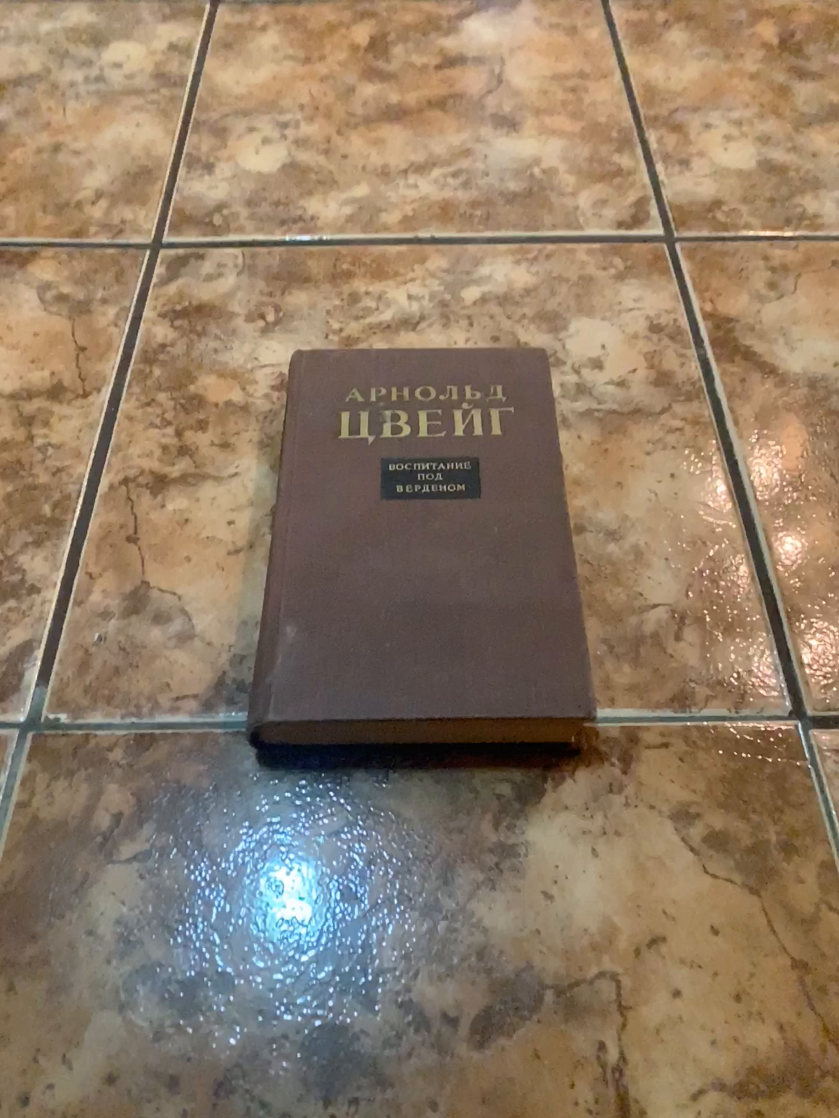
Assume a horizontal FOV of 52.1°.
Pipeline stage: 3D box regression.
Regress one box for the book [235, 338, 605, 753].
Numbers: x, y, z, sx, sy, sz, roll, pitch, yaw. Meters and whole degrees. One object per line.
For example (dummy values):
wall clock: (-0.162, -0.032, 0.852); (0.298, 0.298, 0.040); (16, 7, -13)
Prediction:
book: (0.000, -0.017, 0.394); (0.139, 0.034, 0.206); (0, 56, 0)
